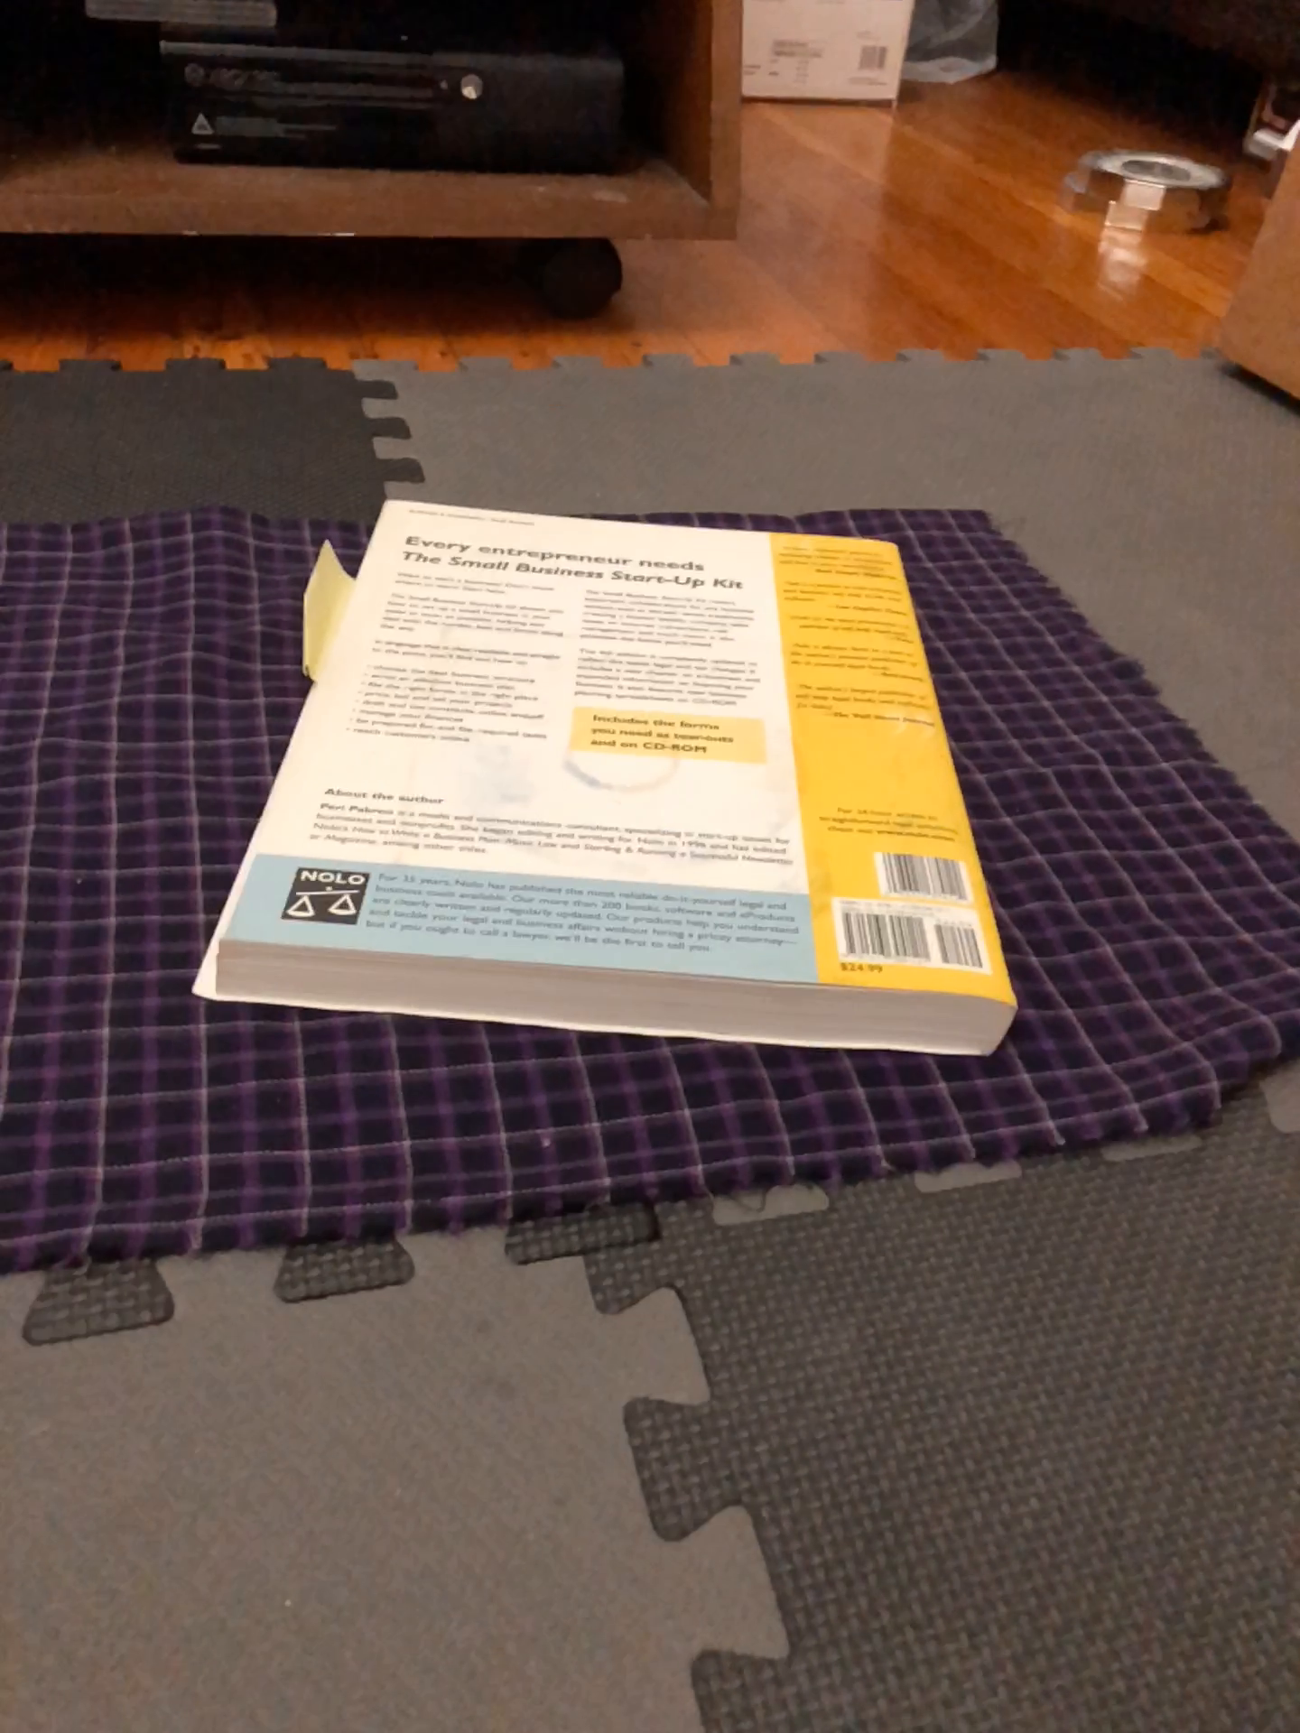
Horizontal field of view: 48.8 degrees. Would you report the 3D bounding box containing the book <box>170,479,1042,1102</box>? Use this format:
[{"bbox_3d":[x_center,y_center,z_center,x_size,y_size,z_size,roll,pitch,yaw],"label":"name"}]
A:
[{"bbox_3d":[-0.008,-0.051,0.509,0.230,0.030,0.312,5,38,-2],"label":"book"}]
